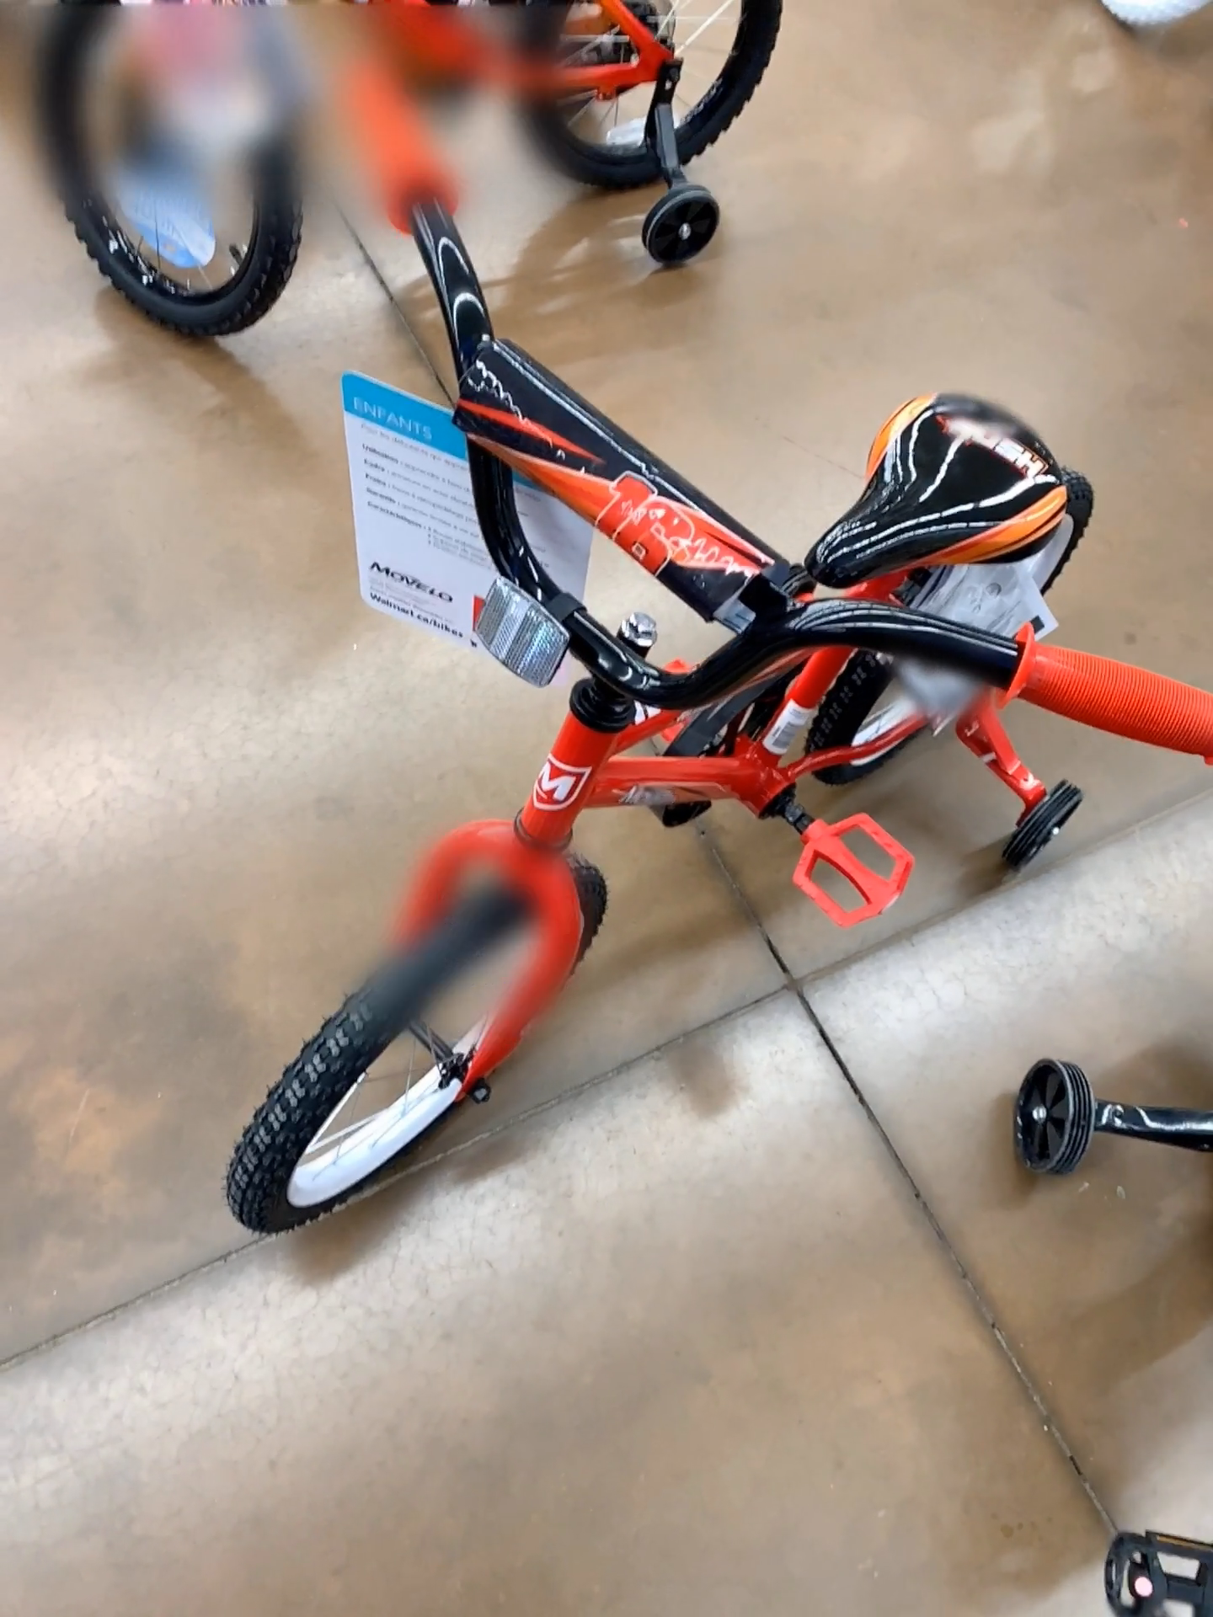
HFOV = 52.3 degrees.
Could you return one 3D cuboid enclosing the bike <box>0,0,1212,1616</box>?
[{"bbox_3d":[0.164,-0.075,1.002,1.142,0.955,0.516,-38,71,-27],"label":"bike"}]
